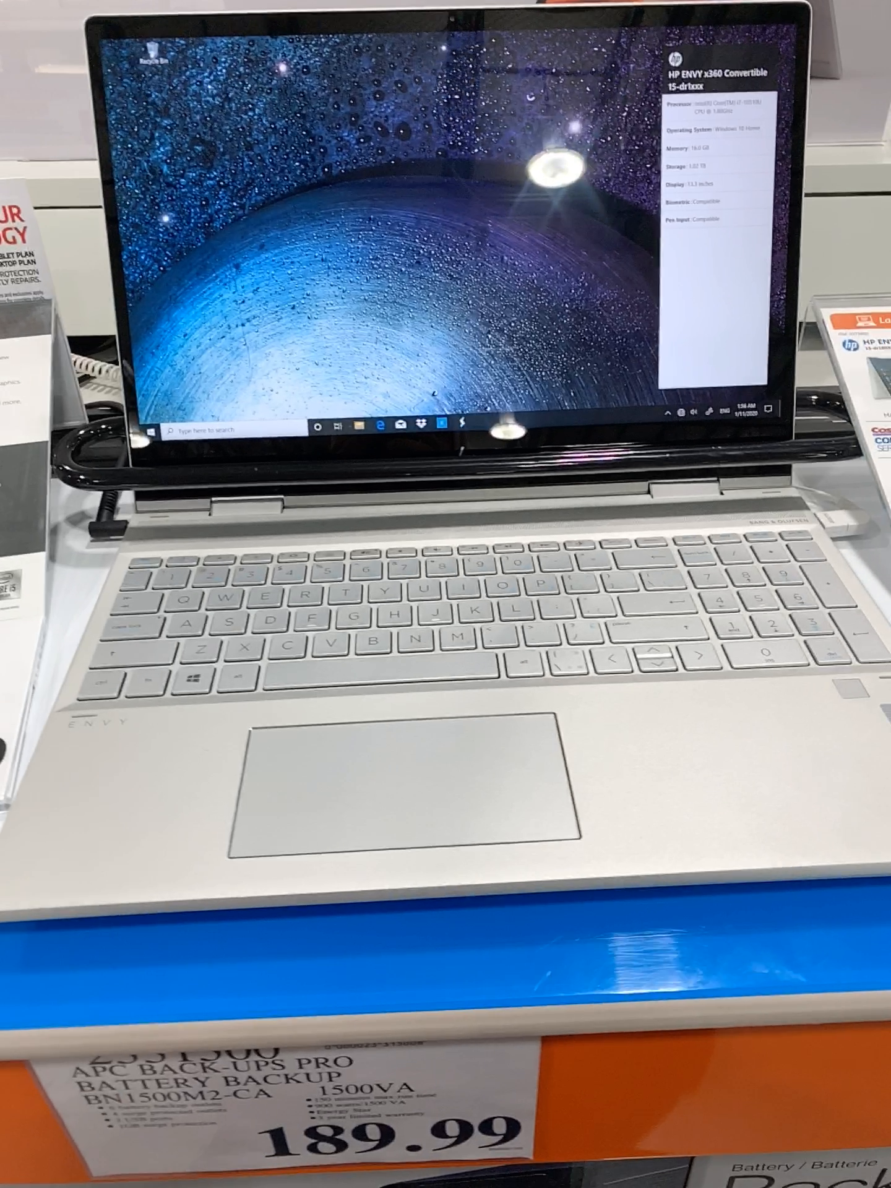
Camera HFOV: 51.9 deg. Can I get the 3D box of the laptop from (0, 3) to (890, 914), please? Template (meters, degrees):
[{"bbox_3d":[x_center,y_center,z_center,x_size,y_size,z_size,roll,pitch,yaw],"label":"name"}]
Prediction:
[{"bbox_3d":[0.012,-0.094,0.364,0.346,0.209,0.341,-3,37,-2],"label":"laptop"}]
